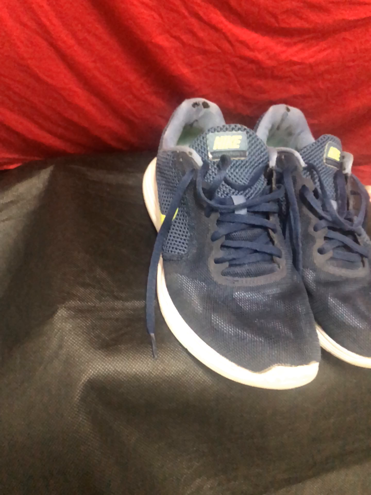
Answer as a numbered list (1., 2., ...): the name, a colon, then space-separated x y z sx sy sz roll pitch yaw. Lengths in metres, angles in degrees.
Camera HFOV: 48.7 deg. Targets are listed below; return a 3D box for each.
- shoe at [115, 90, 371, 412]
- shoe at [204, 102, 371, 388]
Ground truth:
1. shoe: 0.020 -0.016 0.318 0.110 0.099 0.232 -2 46 -18
2. shoe: 0.114 -0.024 0.375 0.110 0.089 0.262 -2 46 -18
